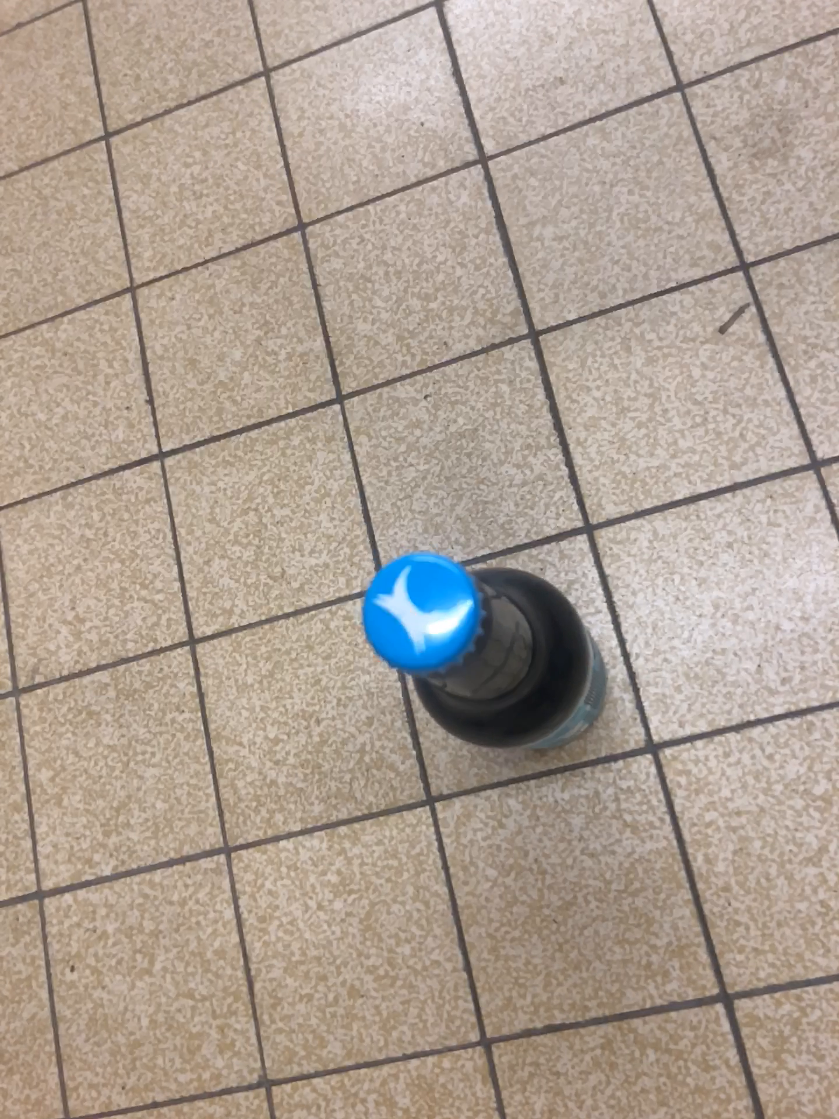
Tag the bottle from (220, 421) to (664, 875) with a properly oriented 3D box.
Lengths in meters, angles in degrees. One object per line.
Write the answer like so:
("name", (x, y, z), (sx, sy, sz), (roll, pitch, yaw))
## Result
("bottle", (0.028, 0.036, 0.298), (0.070, 0.210, 0.070), (-3, 78, 14))
